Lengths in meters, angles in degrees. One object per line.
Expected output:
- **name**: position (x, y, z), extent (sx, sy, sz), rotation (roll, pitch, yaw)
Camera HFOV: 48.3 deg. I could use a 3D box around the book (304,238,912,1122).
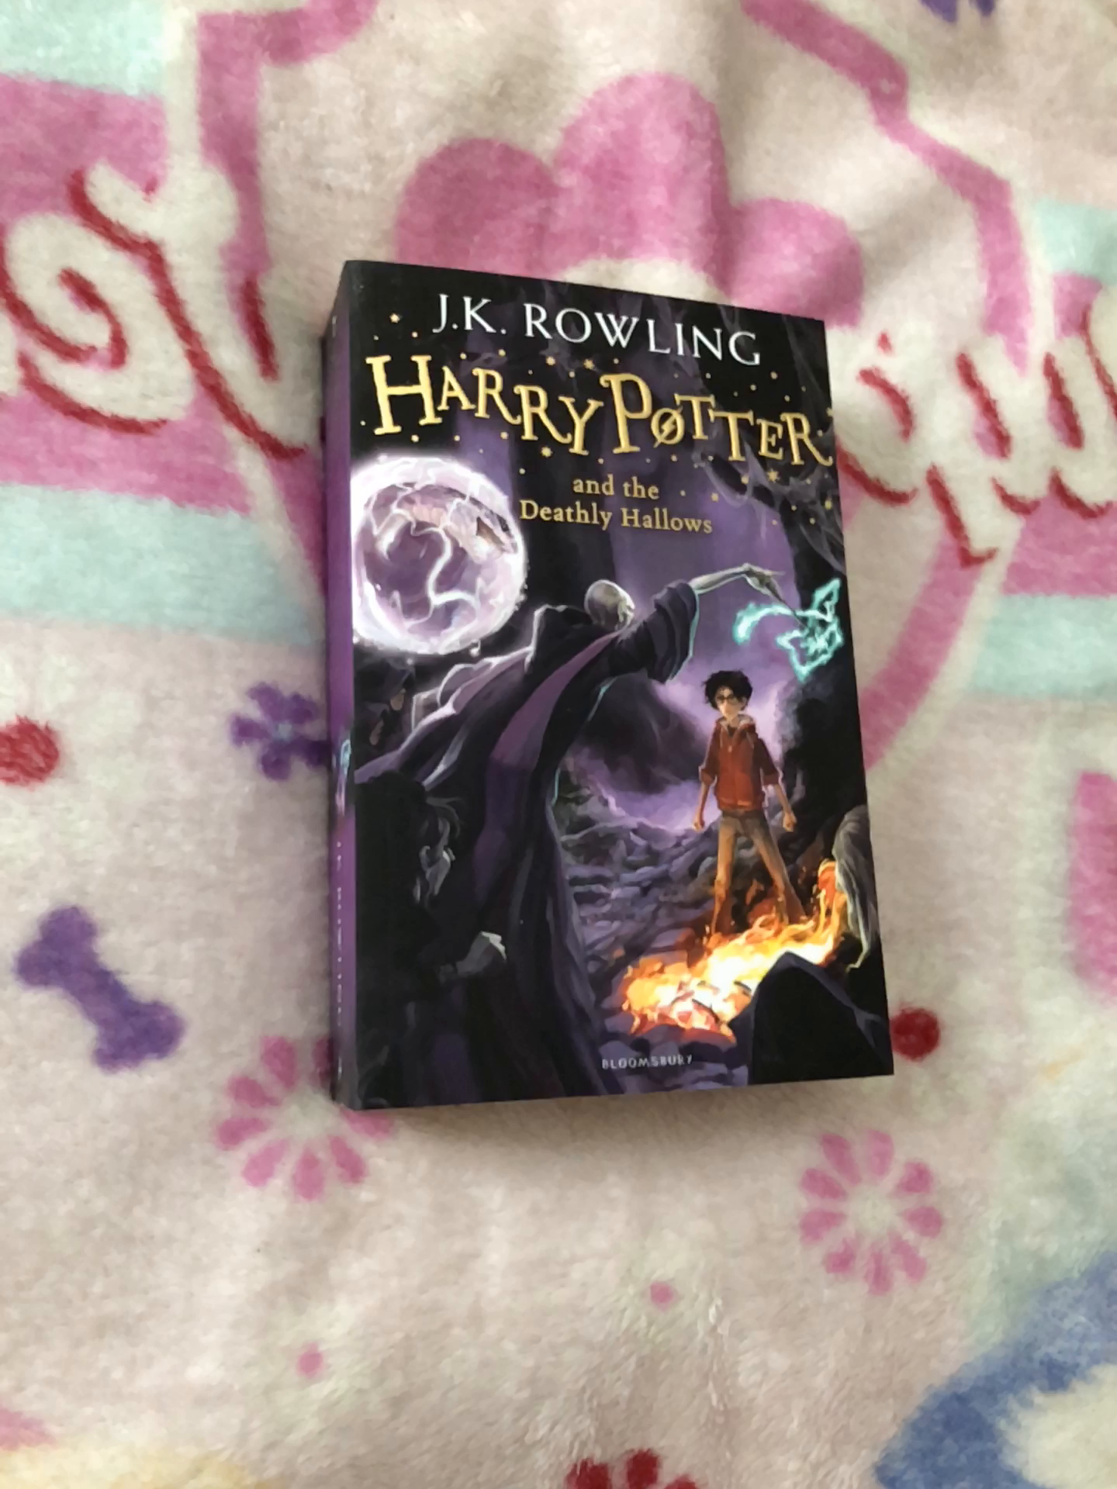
- **book**: position (0.005, -0.013, 0.301), extent (0.126, 0.060, 0.187), rotation (1, 78, -15)
